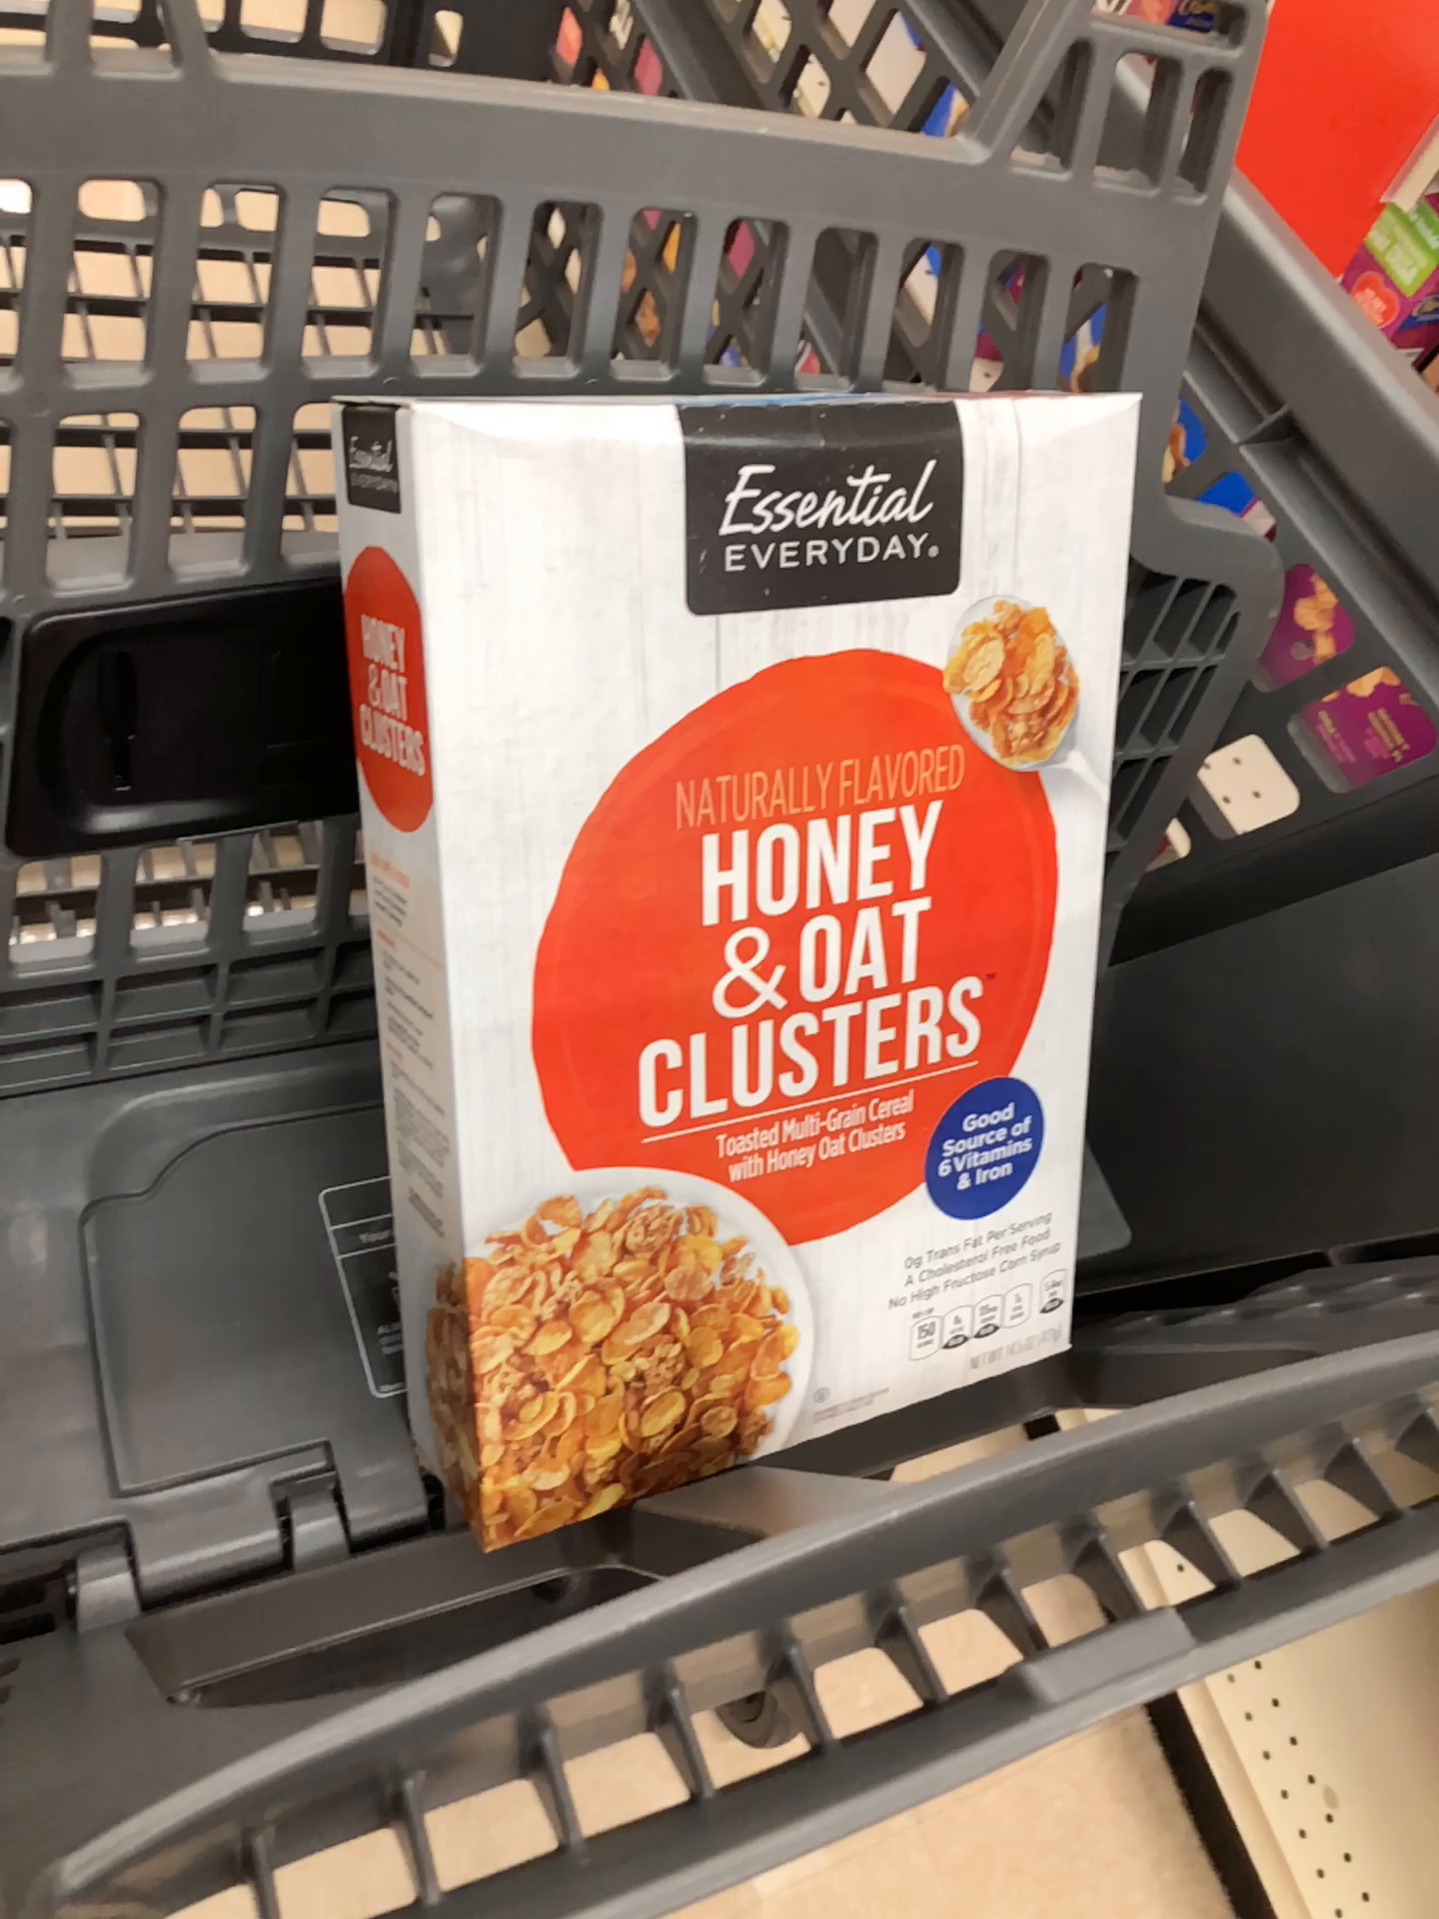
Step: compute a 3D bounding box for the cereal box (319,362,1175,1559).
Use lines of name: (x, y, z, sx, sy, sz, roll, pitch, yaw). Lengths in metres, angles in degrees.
cereal box: (0.010, -0.008, 0.420, 0.190, 0.280, 0.070, -11, 24, -27)
